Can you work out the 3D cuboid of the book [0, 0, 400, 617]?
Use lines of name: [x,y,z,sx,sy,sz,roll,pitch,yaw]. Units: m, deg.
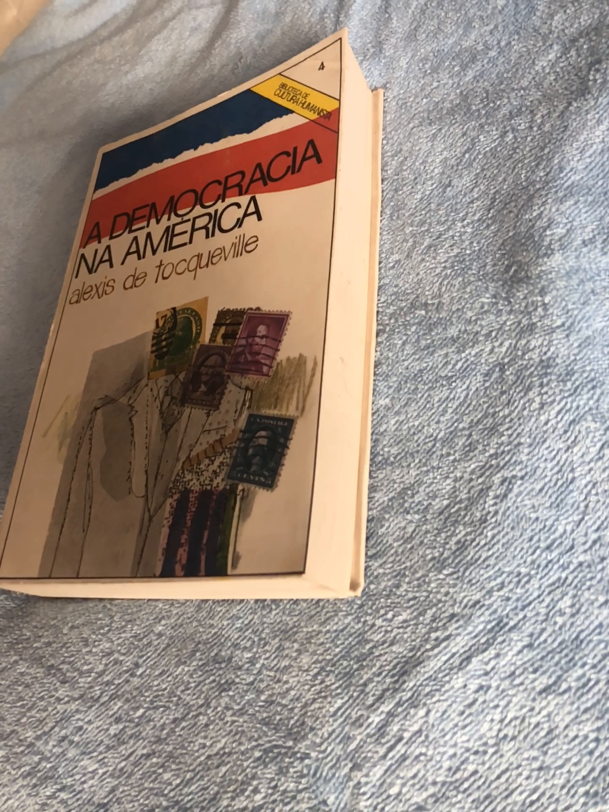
book: [-0.040,-0.030,0.253,0.140,0.050,0.200,-8,67,29]
